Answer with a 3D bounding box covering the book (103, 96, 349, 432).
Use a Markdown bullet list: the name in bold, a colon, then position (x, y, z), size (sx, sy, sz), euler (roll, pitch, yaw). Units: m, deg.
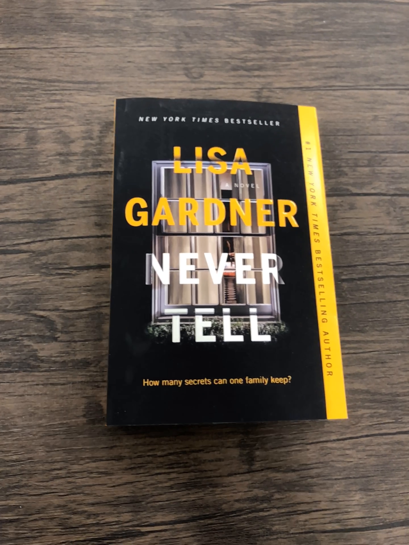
- **book**: position (0.010, -0.010, 0.294), size (0.137, 0.032, 0.207), euler (1, 75, -6)
